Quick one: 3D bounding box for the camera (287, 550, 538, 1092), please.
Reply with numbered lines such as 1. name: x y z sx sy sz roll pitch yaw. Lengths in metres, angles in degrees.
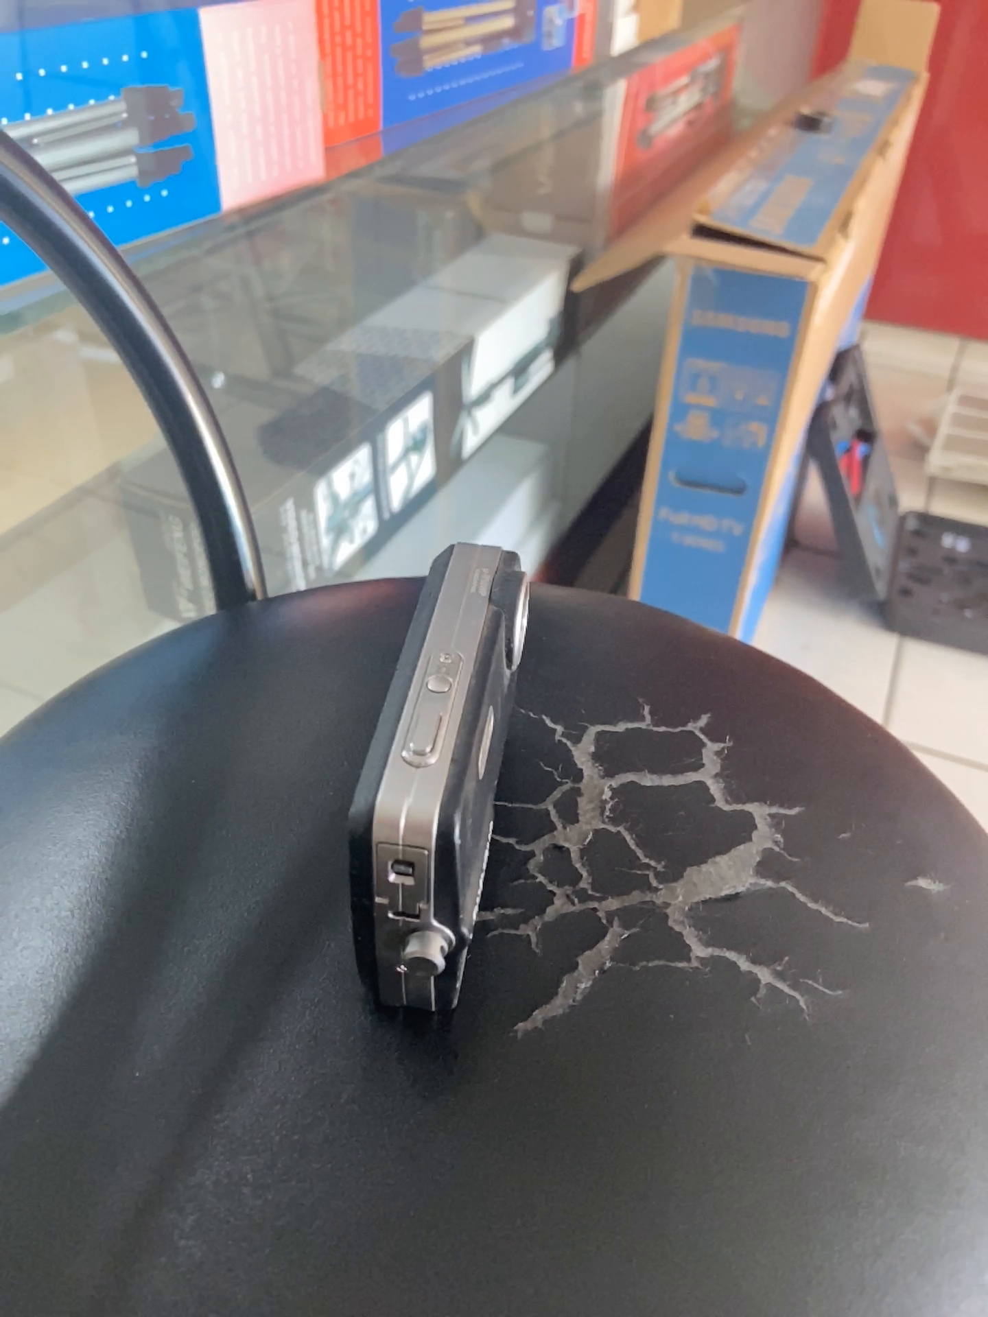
1. camera: -0.013 0.030 0.225 0.030 0.060 0.101 7 38 5
